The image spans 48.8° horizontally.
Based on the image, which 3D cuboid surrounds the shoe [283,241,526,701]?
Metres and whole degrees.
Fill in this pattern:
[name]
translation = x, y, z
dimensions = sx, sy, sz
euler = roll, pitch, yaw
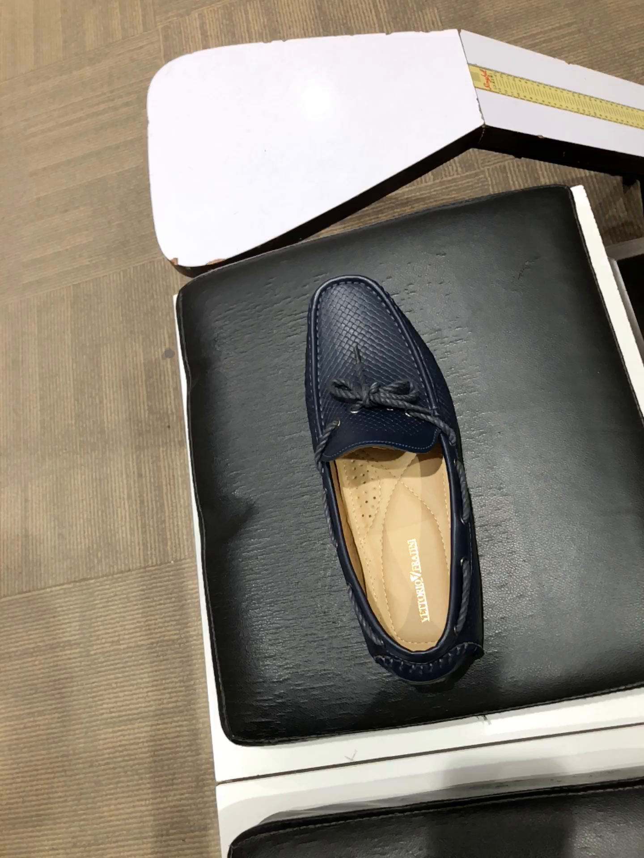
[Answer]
[shoe]
translation = 0.050, 0.025, 0.467
dimensions = 0.100, 0.080, 0.271
euler = -13, 70, 11
